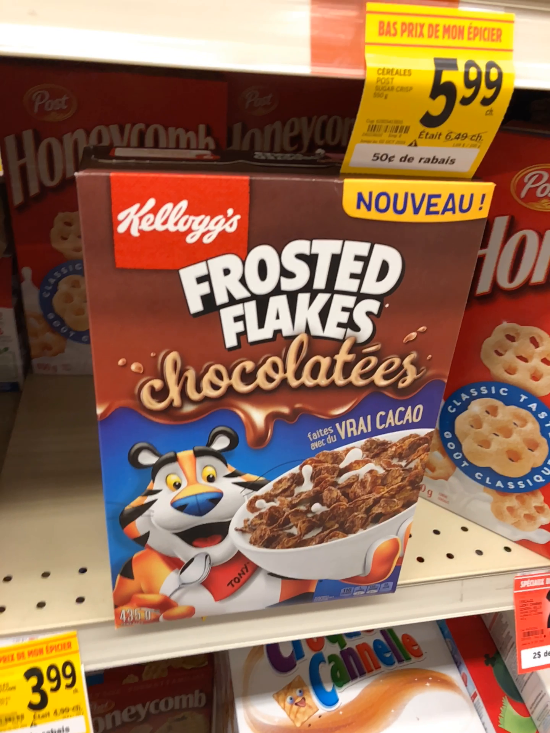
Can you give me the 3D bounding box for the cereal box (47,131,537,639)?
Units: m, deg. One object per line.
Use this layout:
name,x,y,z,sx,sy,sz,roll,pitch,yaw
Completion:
cereal box,-0.001,0.022,0.350,0.210,0.278,0.071,-2,30,-12
